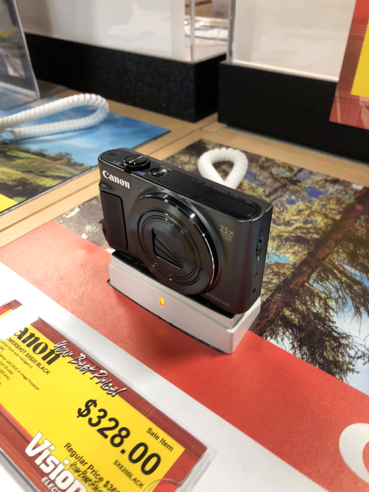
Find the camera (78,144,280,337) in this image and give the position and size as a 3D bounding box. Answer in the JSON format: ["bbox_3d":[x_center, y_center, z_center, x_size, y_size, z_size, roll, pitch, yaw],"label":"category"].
[{"bbox_3d":[-0.006,-0.007,0.212,0.100,0.060,0.030,26,45,32],"label":"camera"}]
